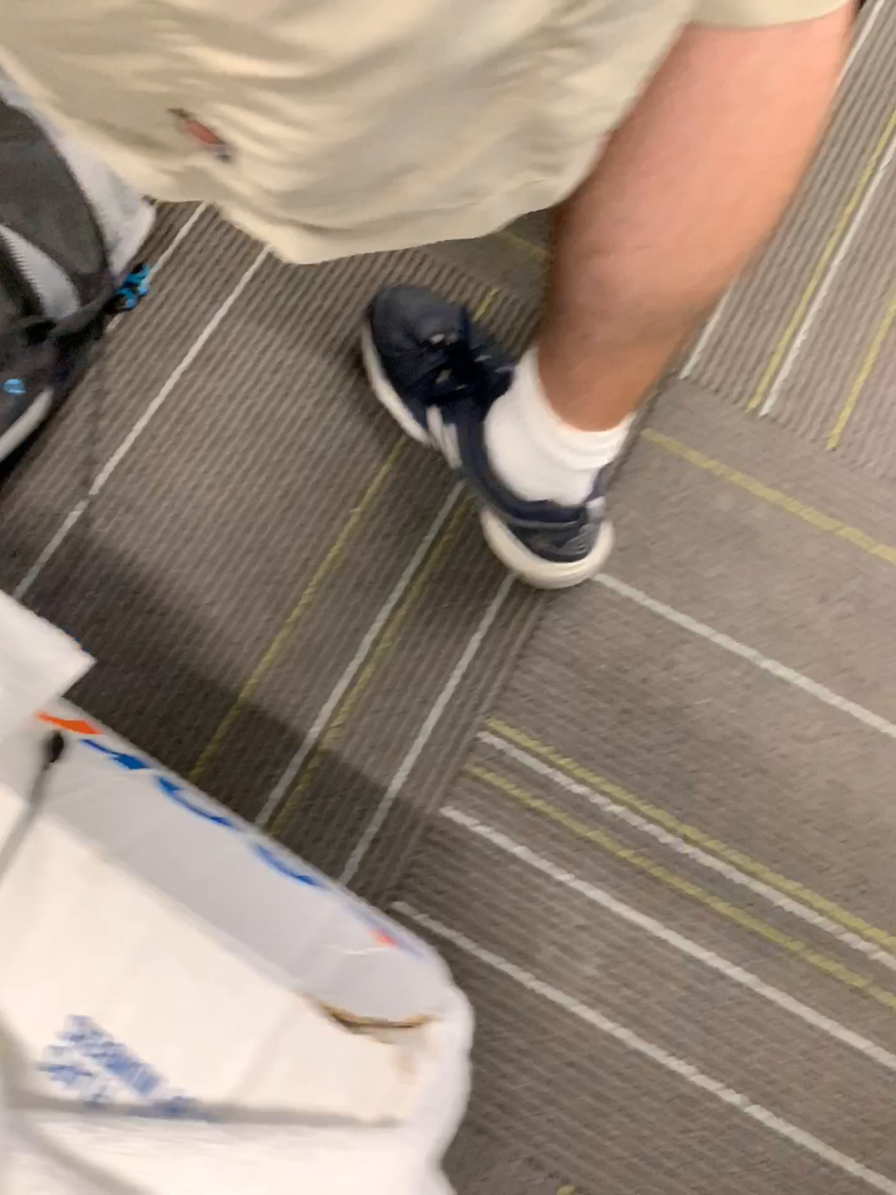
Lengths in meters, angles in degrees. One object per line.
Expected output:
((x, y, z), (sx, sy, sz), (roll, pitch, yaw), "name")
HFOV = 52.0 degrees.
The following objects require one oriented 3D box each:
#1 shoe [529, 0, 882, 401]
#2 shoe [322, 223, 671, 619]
((0.173, -0.303, 0.712), (0.129, 0.293, 0.122), (-38, 79, -14), "shoe")
((0.031, -0.144, 0.741), (0.120, 0.077, 0.297), (-32, 77, -11), "shoe")
